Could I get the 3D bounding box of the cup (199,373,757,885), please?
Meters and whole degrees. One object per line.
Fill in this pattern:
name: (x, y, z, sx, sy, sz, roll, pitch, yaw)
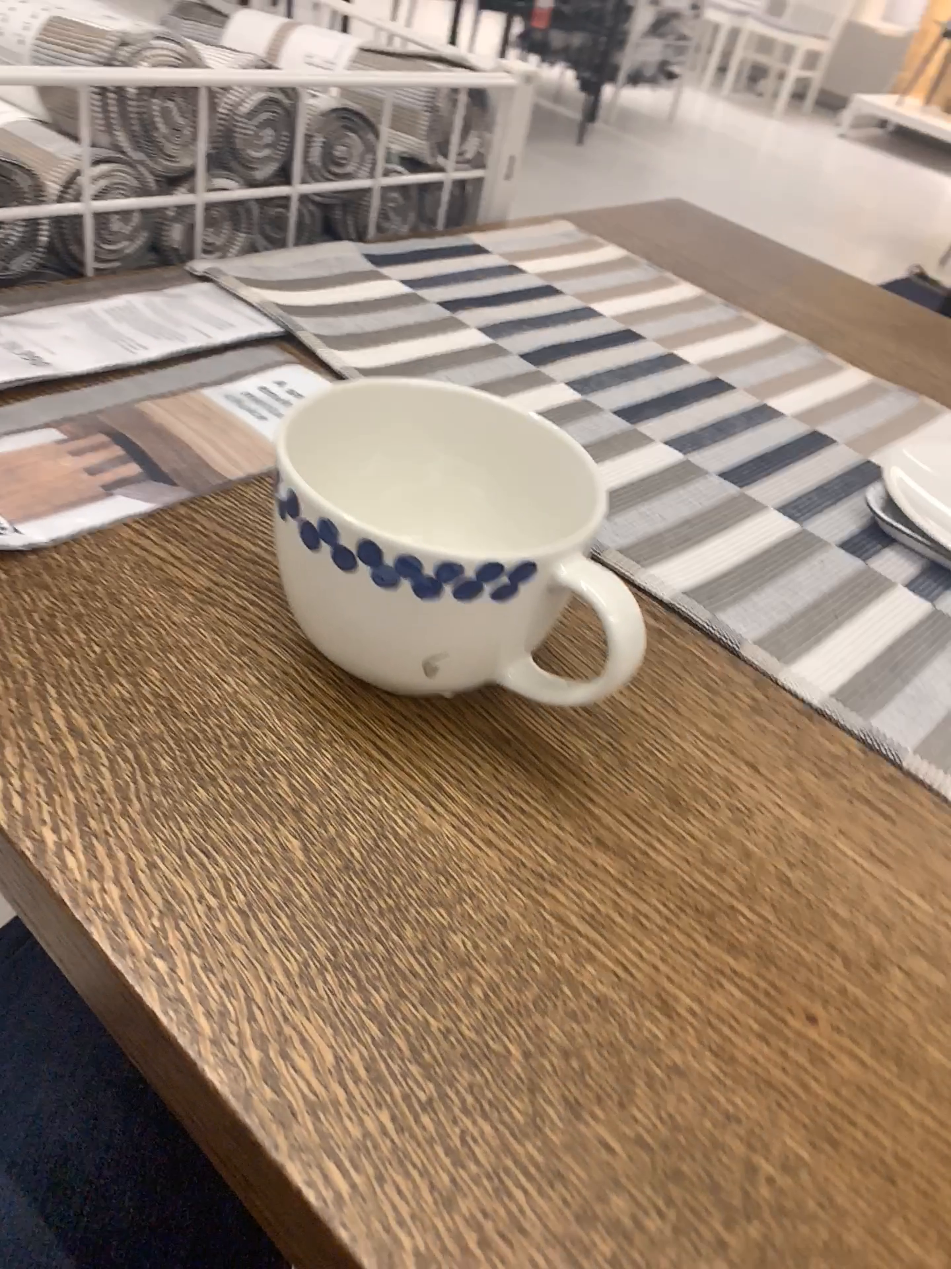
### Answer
cup: (-0.004, -0.012, 0.305, 0.130, 0.070, 0.100, 38, 44, 27)
